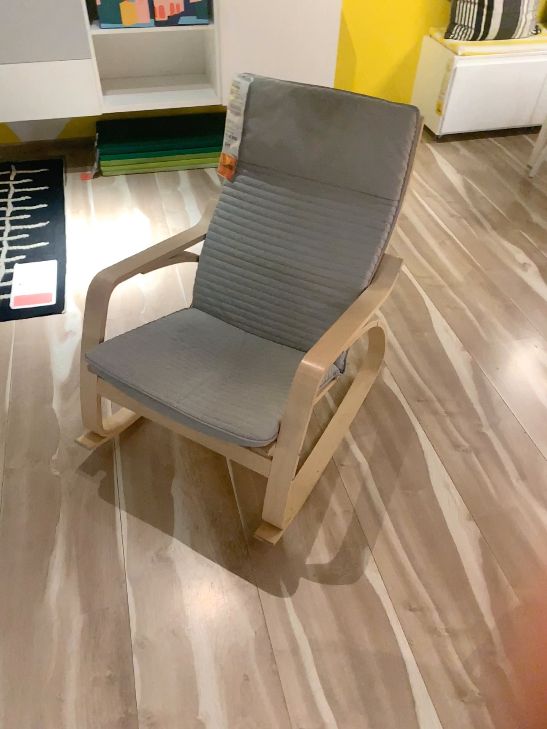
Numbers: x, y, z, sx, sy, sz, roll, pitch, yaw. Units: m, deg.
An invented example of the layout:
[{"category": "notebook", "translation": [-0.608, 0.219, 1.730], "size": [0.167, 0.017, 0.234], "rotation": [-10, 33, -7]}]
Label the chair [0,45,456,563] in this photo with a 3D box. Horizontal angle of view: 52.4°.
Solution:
[{"category": "chair", "translation": [-0.104, -0.164, 1.447], "size": [0.731, 0.917, 0.722], "rotation": [23, 49, 18]}]
